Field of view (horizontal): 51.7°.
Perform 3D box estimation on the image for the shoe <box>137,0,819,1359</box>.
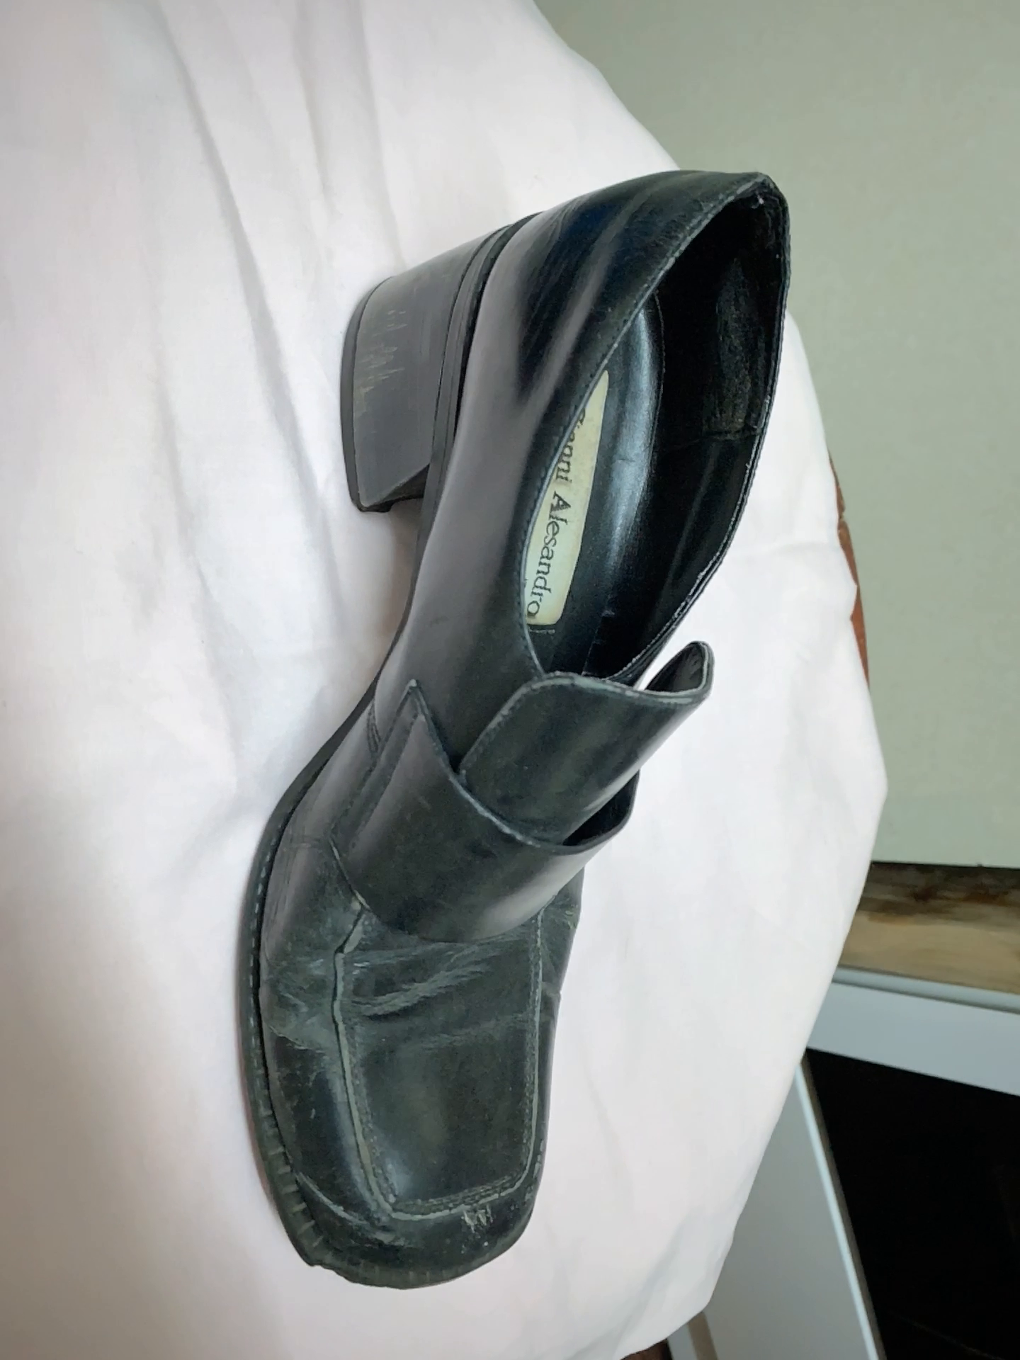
[{"bbox_3d":[-0.004,0.001,0.222,0.090,0.092,0.240,11,79,-36],"label":"shoe"}]
